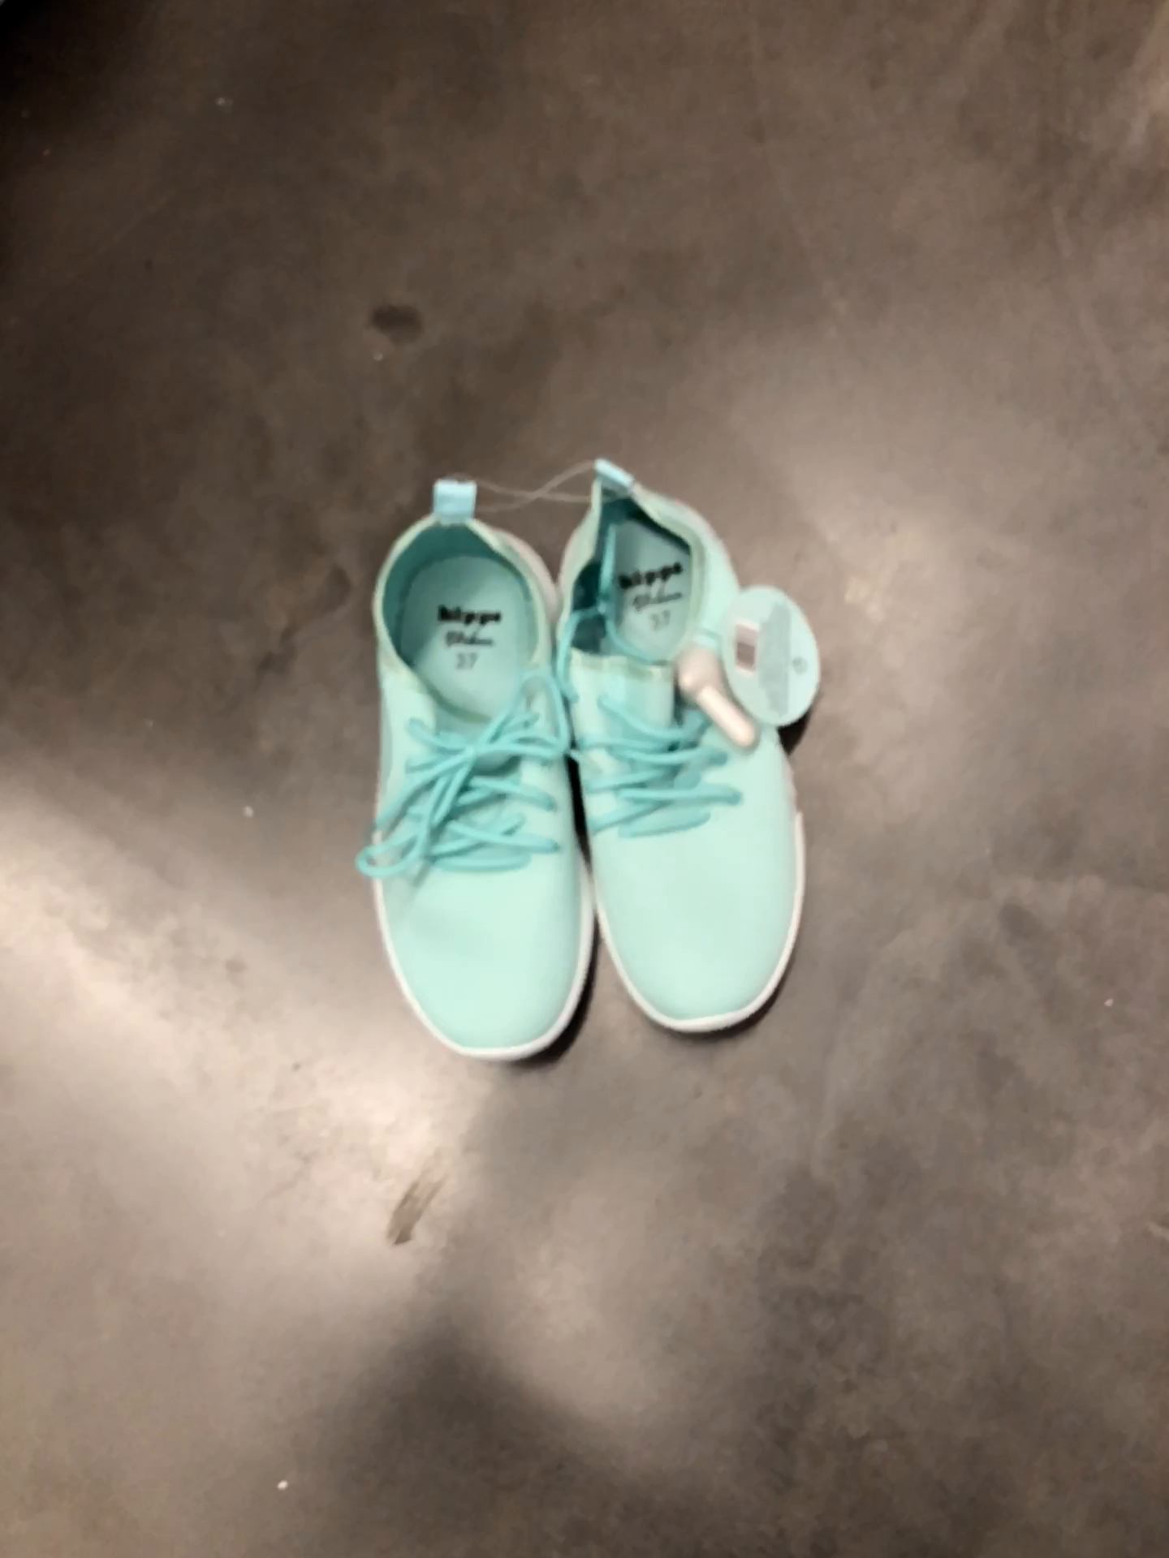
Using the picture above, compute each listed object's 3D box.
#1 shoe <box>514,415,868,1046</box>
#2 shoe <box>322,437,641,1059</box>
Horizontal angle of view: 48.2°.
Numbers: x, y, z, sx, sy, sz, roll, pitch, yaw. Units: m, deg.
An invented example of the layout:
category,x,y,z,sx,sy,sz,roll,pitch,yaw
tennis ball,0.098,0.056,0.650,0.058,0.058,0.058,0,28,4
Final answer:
category,x,y,z,sx,sy,sz,roll,pitch,yaw
shoe,0.040,-0.014,0.537,0.100,0.100,0.230,-8,76,2
shoe,-0.040,-0.007,0.539,0.100,0.100,0.230,-6,76,3
